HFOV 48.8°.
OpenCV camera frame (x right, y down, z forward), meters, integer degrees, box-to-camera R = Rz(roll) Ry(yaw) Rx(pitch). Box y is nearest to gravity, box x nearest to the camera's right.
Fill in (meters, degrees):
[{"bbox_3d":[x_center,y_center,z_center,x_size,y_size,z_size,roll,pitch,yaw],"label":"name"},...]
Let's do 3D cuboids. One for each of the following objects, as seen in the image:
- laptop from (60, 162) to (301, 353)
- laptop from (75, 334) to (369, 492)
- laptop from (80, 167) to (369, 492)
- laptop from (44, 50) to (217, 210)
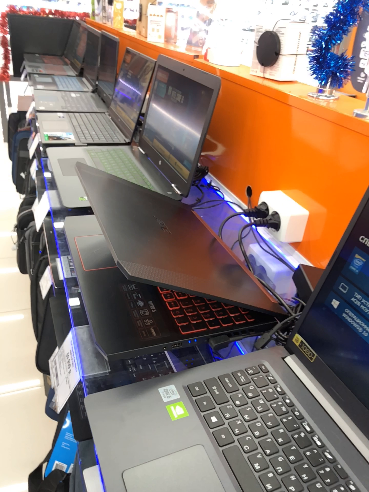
[{"bbox_3d":[-0.040,-0.020,0.633,0.248,0.103,0.359,-6,31,-22],"label":"laptop"},{"bbox_3d":[0.057,0.342,0.499,0.296,0.220,0.406,-6,30,-23],"label":"laptop"},{"bbox_3d":[0.115,0.116,0.280,0.312,0.226,0.344,-7,31,-22],"label":"laptop"},{"bbox_3d":[-0.155,-0.297,0.966,0.310,0.250,0.416,-5,31,-21],"label":"laptop"}]
